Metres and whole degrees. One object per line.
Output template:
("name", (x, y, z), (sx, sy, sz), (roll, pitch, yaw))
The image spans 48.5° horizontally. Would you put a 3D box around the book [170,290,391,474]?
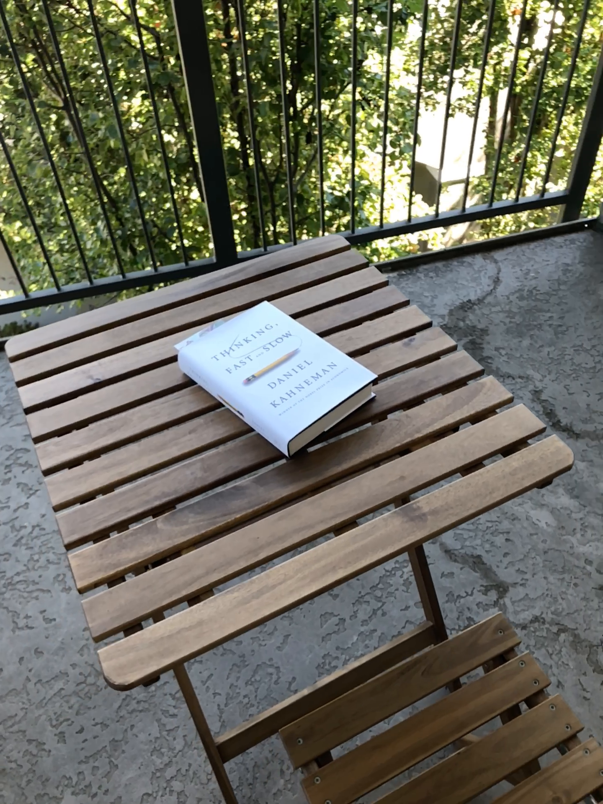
("book", (-0.031, -0.039, 0.910), (0.180, 0.060, 0.241), (-35, 53, -27))
